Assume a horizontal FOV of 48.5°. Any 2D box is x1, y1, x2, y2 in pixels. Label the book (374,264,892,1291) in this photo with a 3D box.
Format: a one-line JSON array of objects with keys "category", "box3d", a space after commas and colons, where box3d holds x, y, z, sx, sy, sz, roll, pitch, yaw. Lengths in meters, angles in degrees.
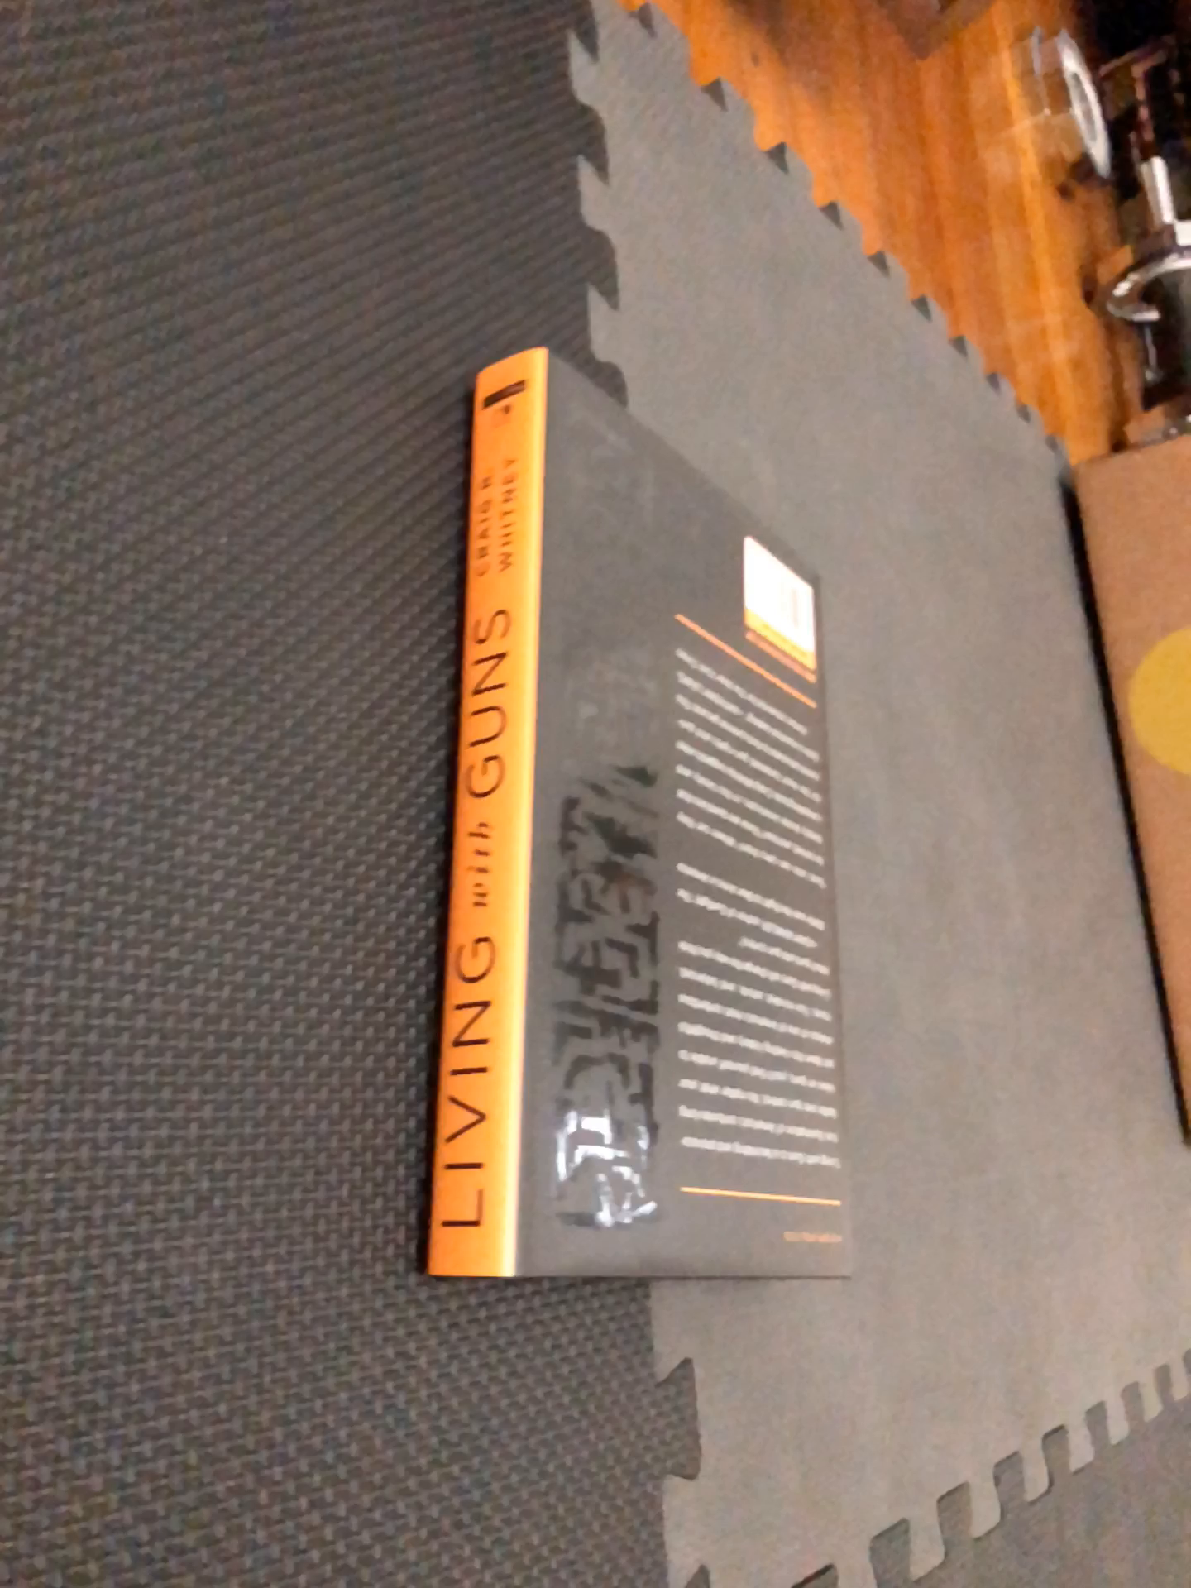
[{"category": "book", "box3d": [0.021, 0.006, 0.387, 0.171, 0.040, 0.260, 25, 59, -47]}]
